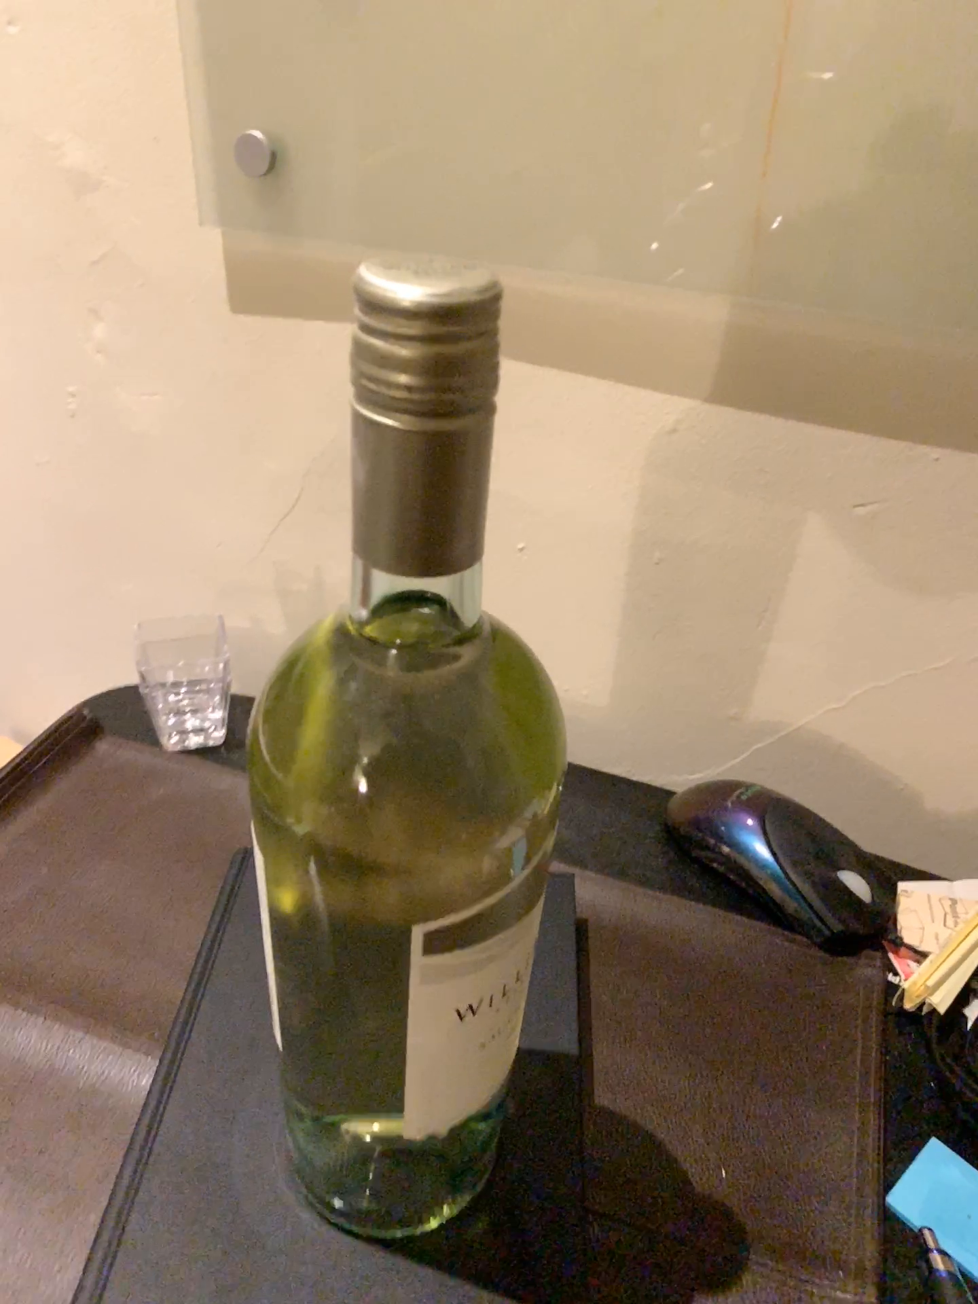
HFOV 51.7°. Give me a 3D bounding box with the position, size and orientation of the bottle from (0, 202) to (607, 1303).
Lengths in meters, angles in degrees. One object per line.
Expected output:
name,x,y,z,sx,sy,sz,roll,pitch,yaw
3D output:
bottle,-0.036,0.049,0.278,0.090,0.298,0.090,2,34,-1
